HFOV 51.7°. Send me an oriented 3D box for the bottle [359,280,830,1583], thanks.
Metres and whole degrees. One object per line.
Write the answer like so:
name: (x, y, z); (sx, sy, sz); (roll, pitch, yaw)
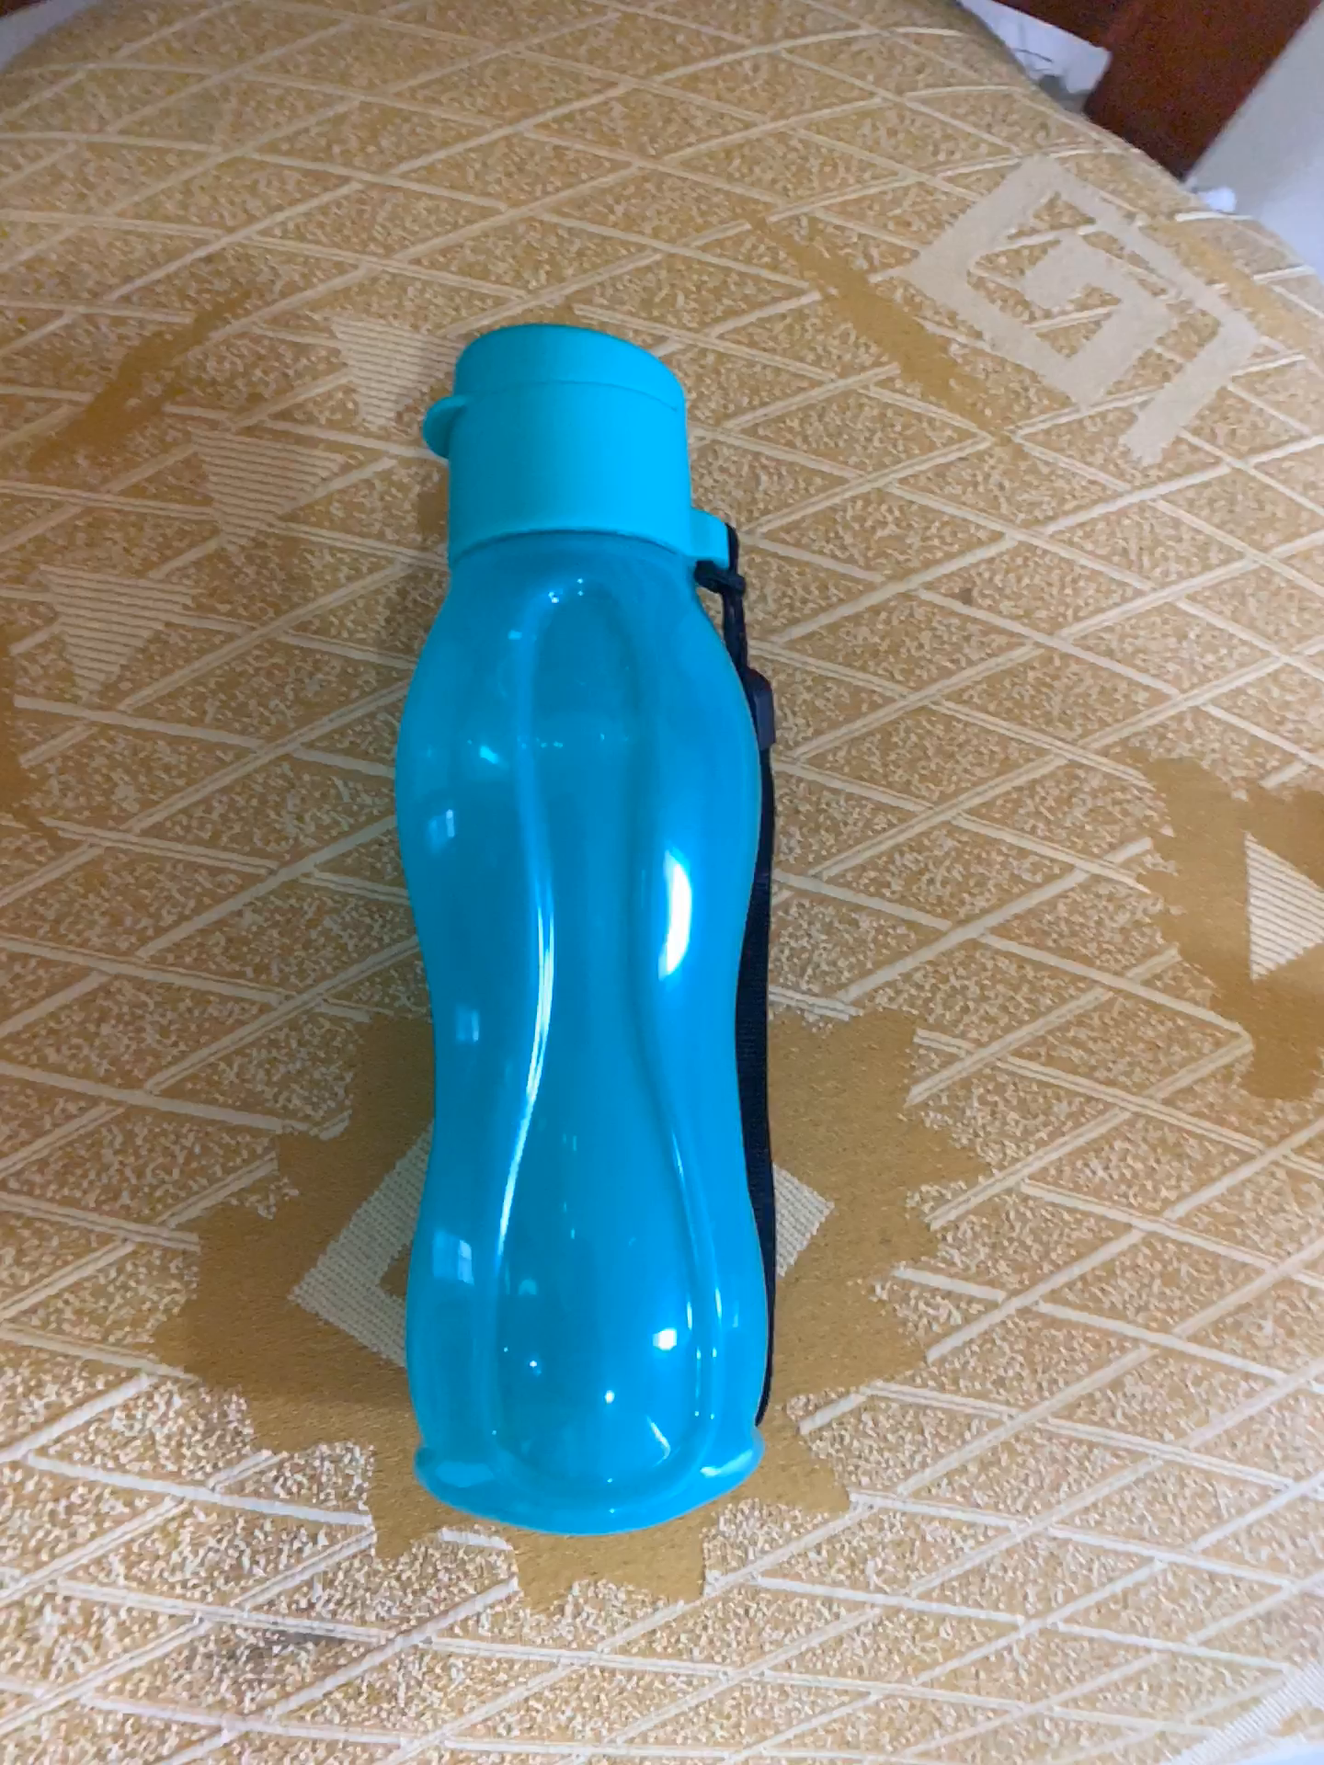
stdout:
bottle: (-0.012, 0.006, 0.238); (0.070, 0.050, 0.200); (1, 84, -6)
